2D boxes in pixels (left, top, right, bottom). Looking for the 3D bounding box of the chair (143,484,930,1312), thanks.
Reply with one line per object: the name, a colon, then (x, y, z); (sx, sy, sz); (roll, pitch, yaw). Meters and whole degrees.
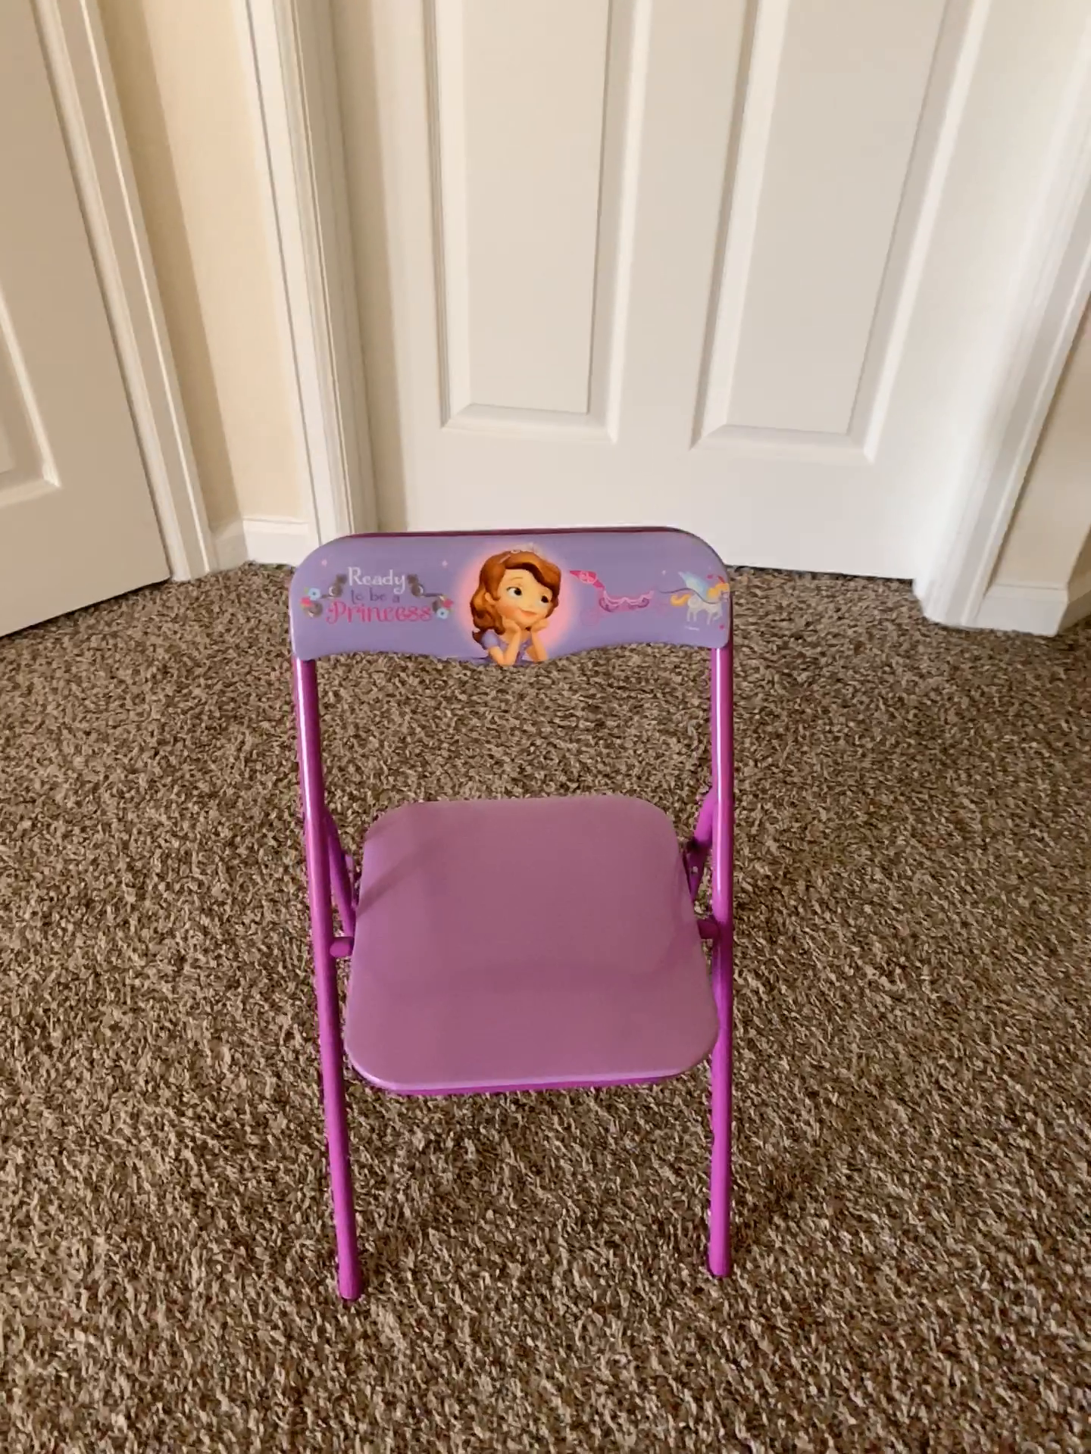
chair: (-0.020, 0.131, 0.839); (0.380, 0.468, 0.392); (-3, 44, -4)
